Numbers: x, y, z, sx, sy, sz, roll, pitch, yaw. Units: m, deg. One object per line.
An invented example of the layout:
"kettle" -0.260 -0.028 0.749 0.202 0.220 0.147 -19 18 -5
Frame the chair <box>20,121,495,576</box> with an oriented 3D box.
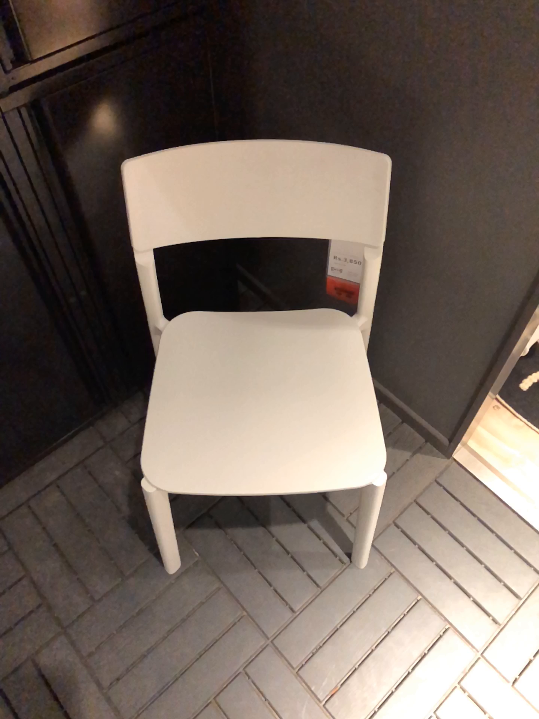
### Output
"chair" -0.017 0.038 1.048 0.500 0.706 0.473 -1 55 -1
